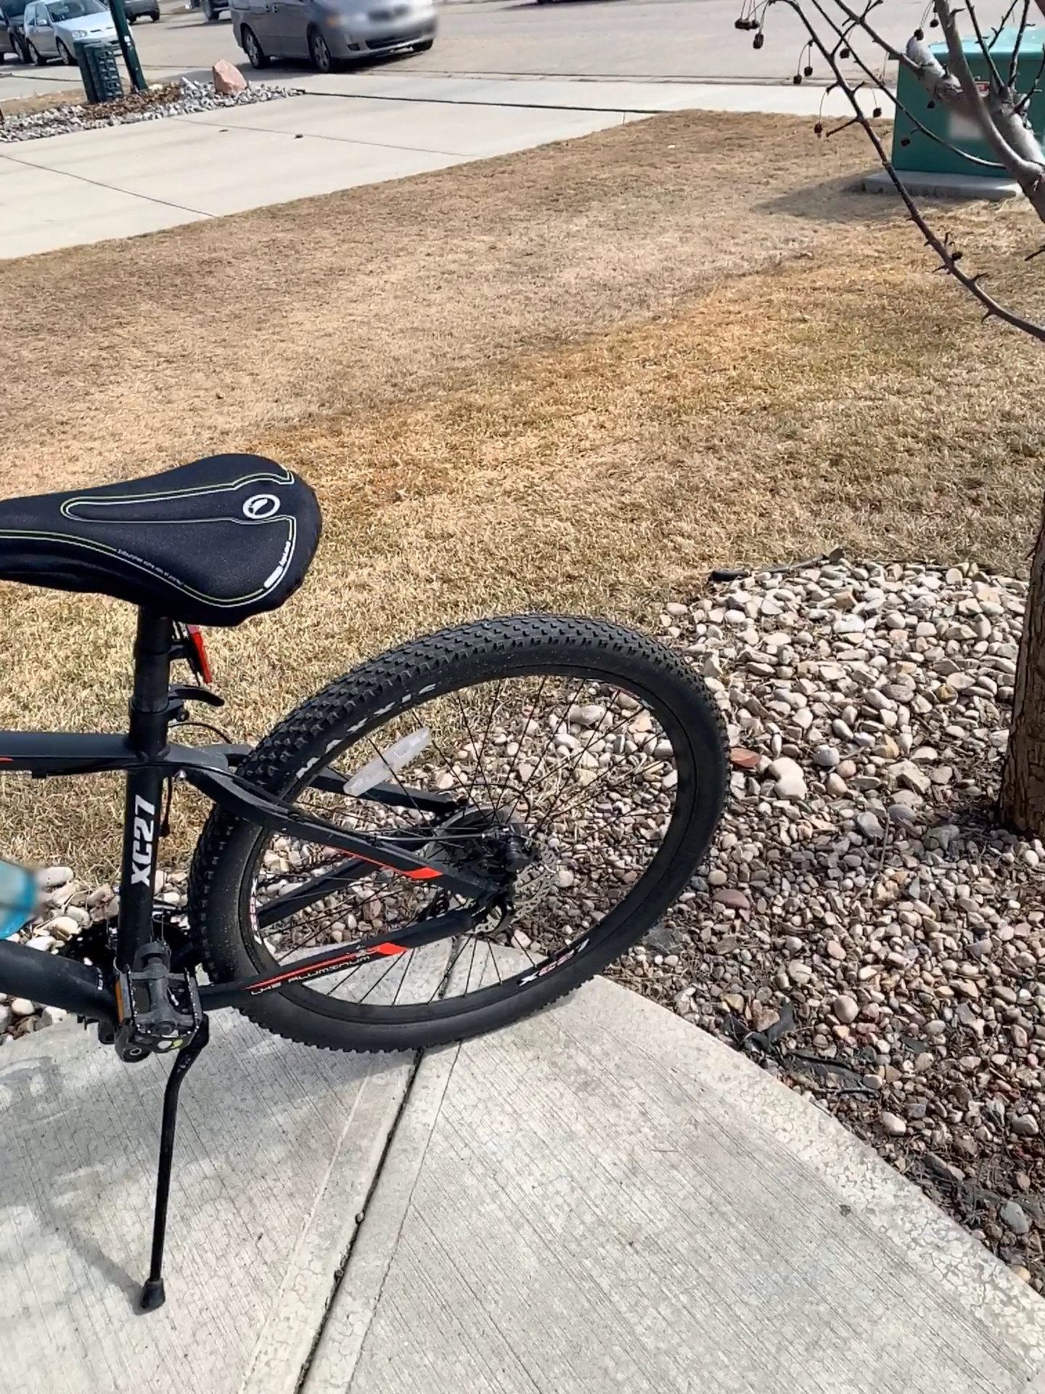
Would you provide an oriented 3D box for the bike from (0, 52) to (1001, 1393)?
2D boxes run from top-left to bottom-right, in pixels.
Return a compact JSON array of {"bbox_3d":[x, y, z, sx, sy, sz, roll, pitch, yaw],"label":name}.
[{"bbox_3d":[-0.433,0.238,0.896,1.481,1.004,0.602,-24,38,-16],"label":"bike"}]
